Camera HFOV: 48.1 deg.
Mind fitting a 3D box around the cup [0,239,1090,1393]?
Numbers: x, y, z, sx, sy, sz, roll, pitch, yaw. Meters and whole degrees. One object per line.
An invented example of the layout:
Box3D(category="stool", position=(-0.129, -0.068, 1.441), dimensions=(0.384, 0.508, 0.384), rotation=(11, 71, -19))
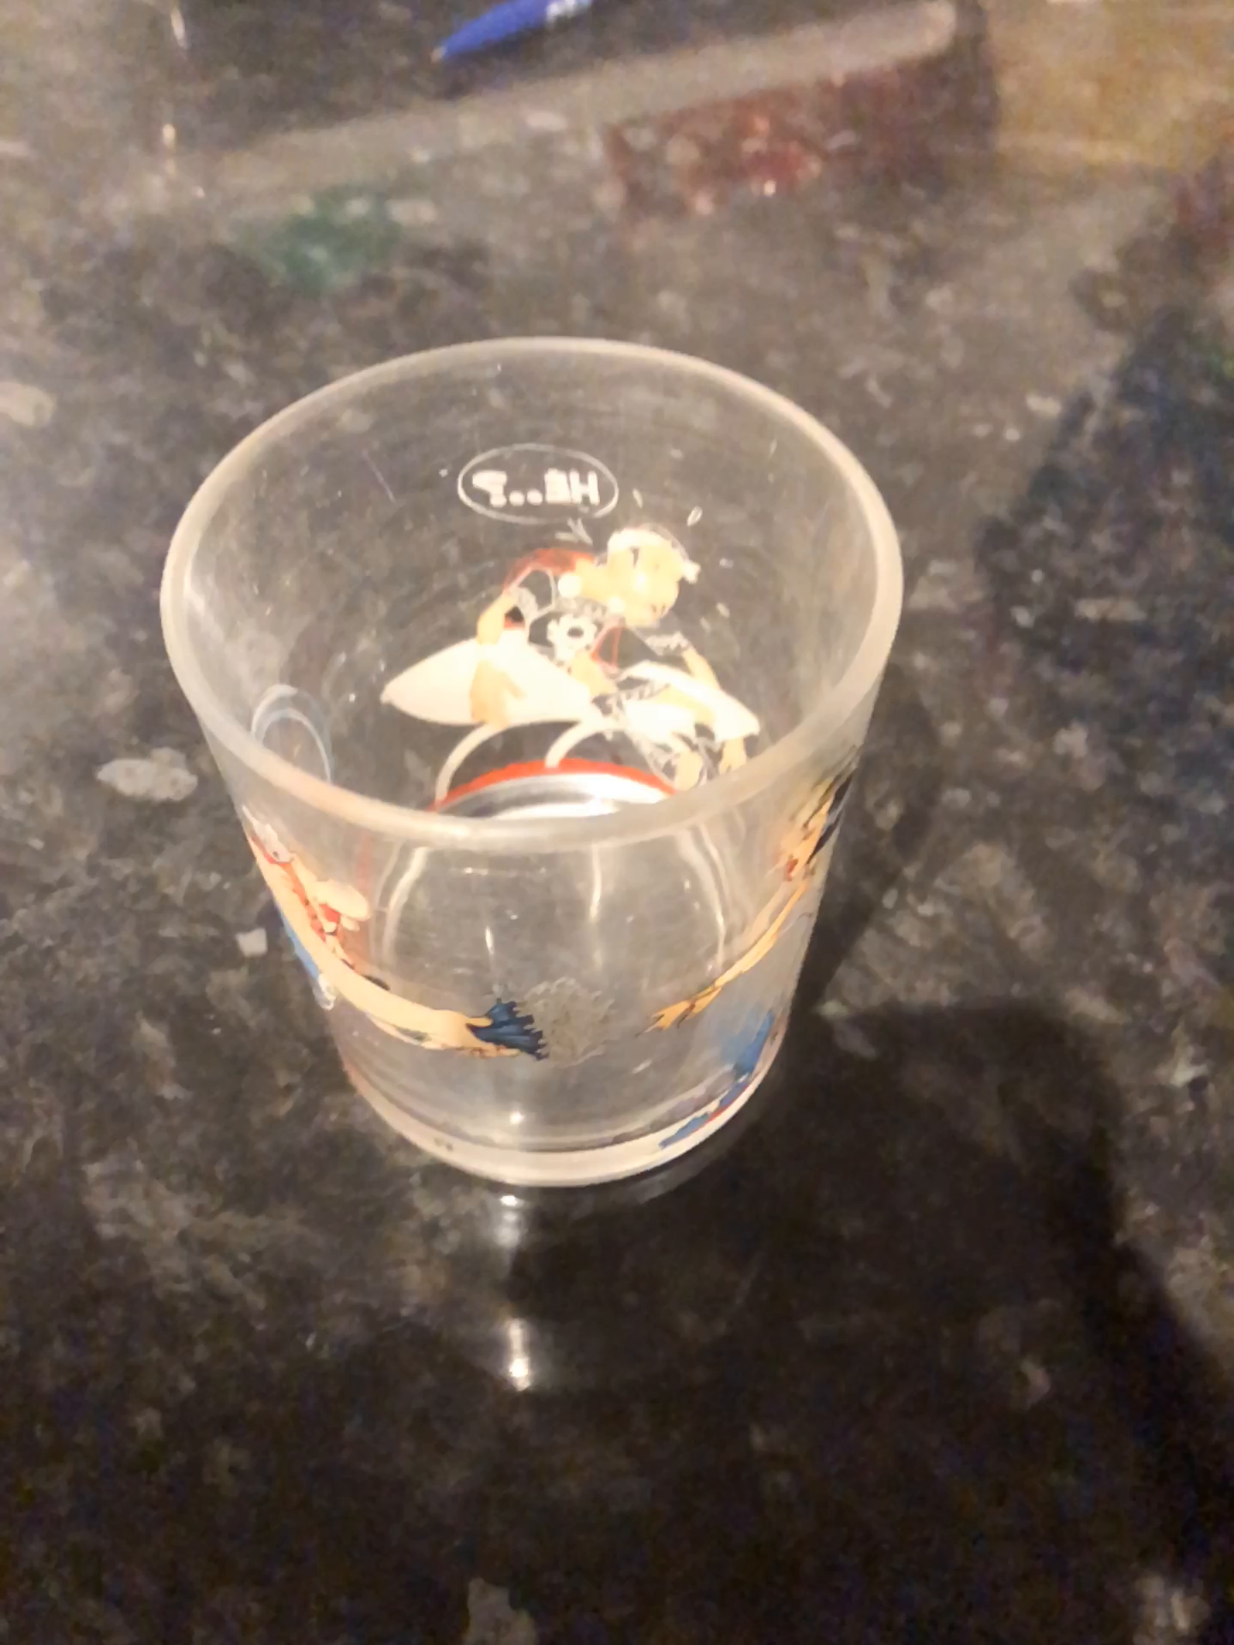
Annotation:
Box3D(category="cup", position=(-0.010, -0.002, 0.166), dimensions=(0.080, 0.080, 0.080), rotation=(0, 52, 0))
